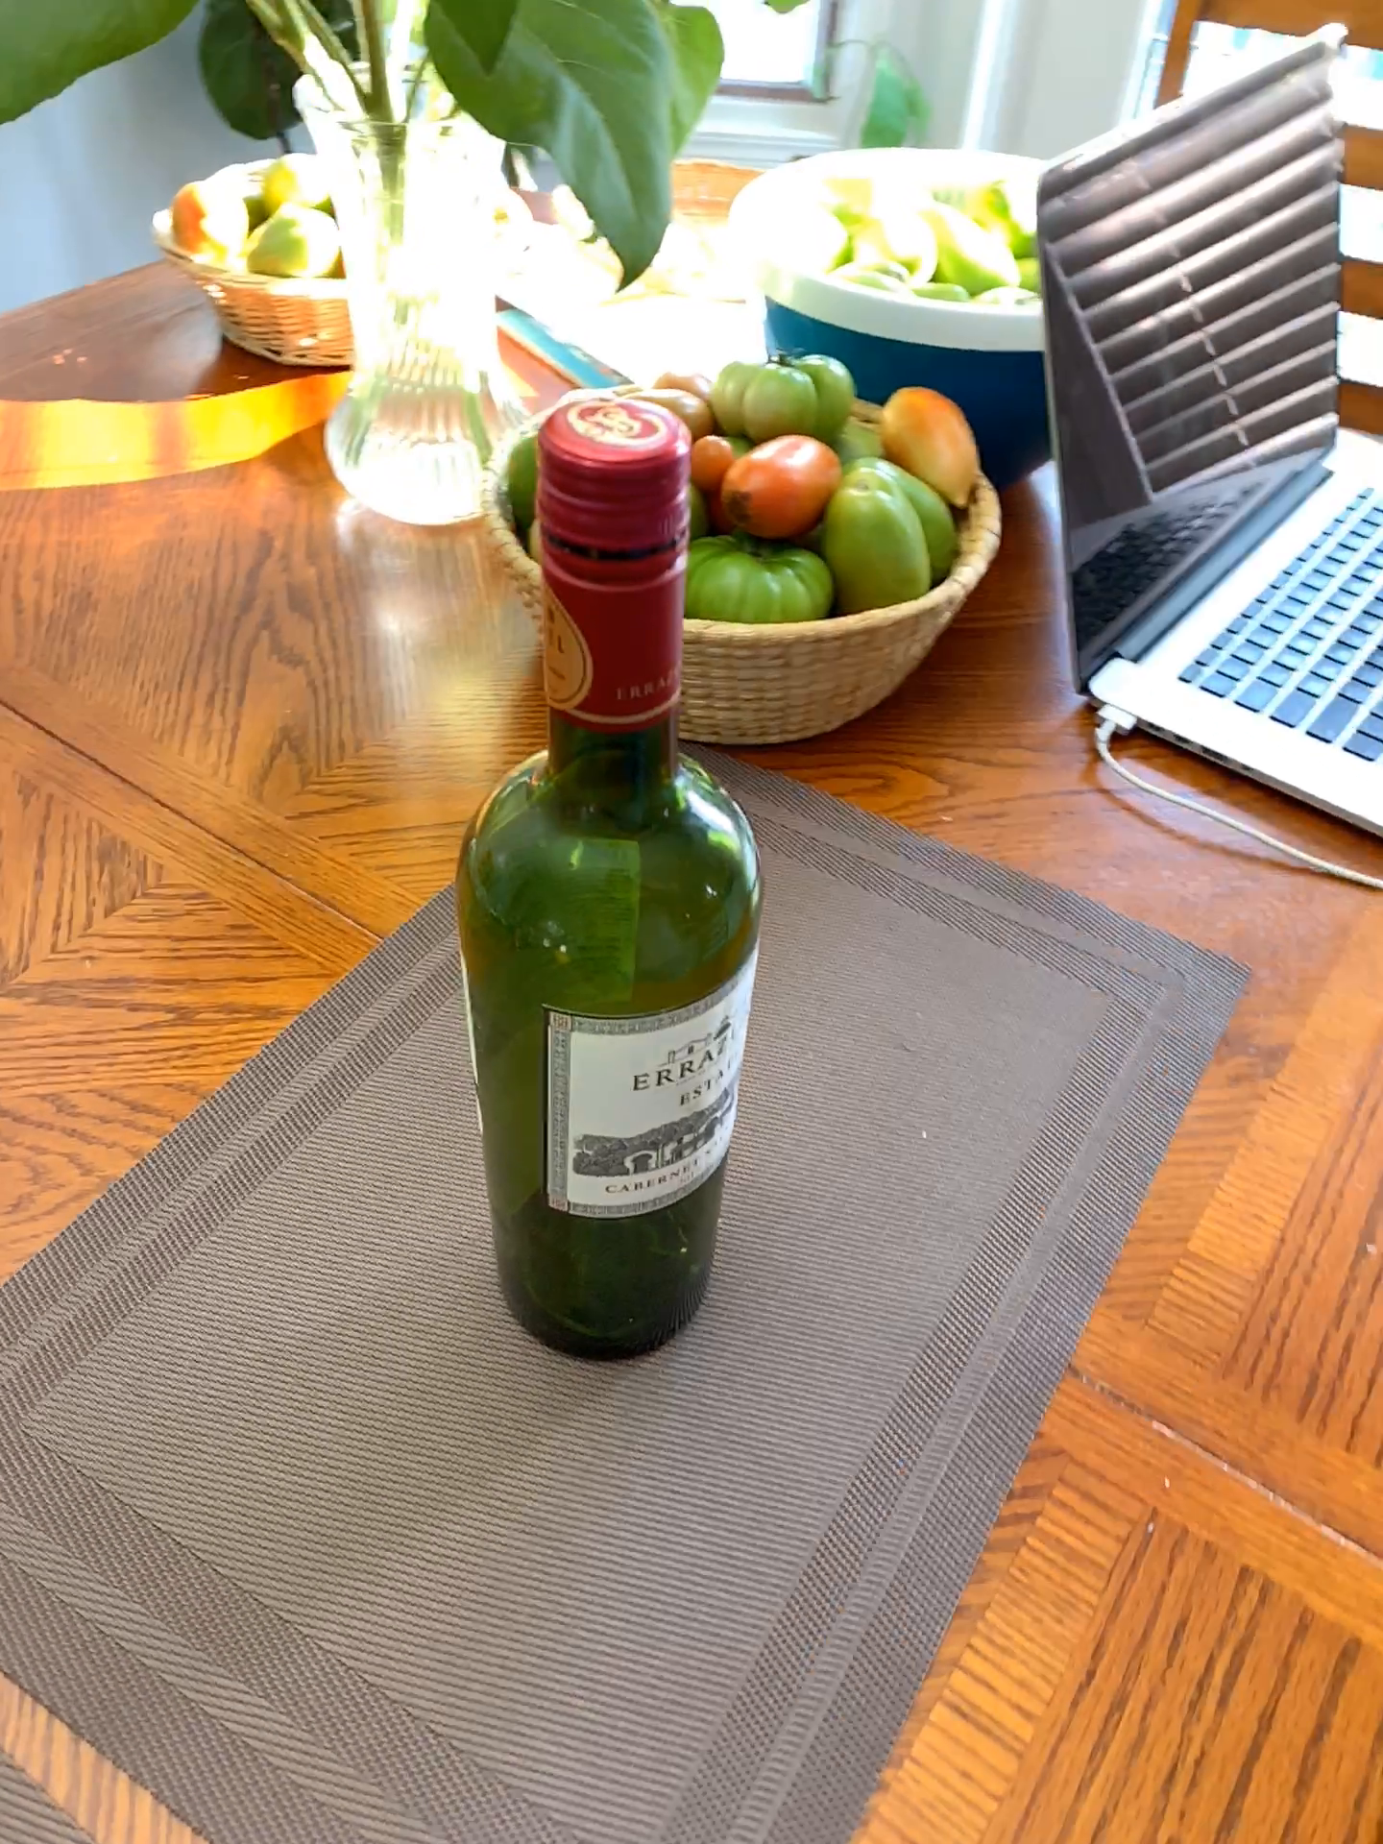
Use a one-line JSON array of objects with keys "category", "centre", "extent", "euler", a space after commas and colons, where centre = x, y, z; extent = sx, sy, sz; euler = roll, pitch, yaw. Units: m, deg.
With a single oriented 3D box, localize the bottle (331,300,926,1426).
[{"category": "bottle", "centre": [-0.019, 0.009, 0.389], "extent": [0.080, 0.307, 0.091], "euler": [30, 50, 24]}]
